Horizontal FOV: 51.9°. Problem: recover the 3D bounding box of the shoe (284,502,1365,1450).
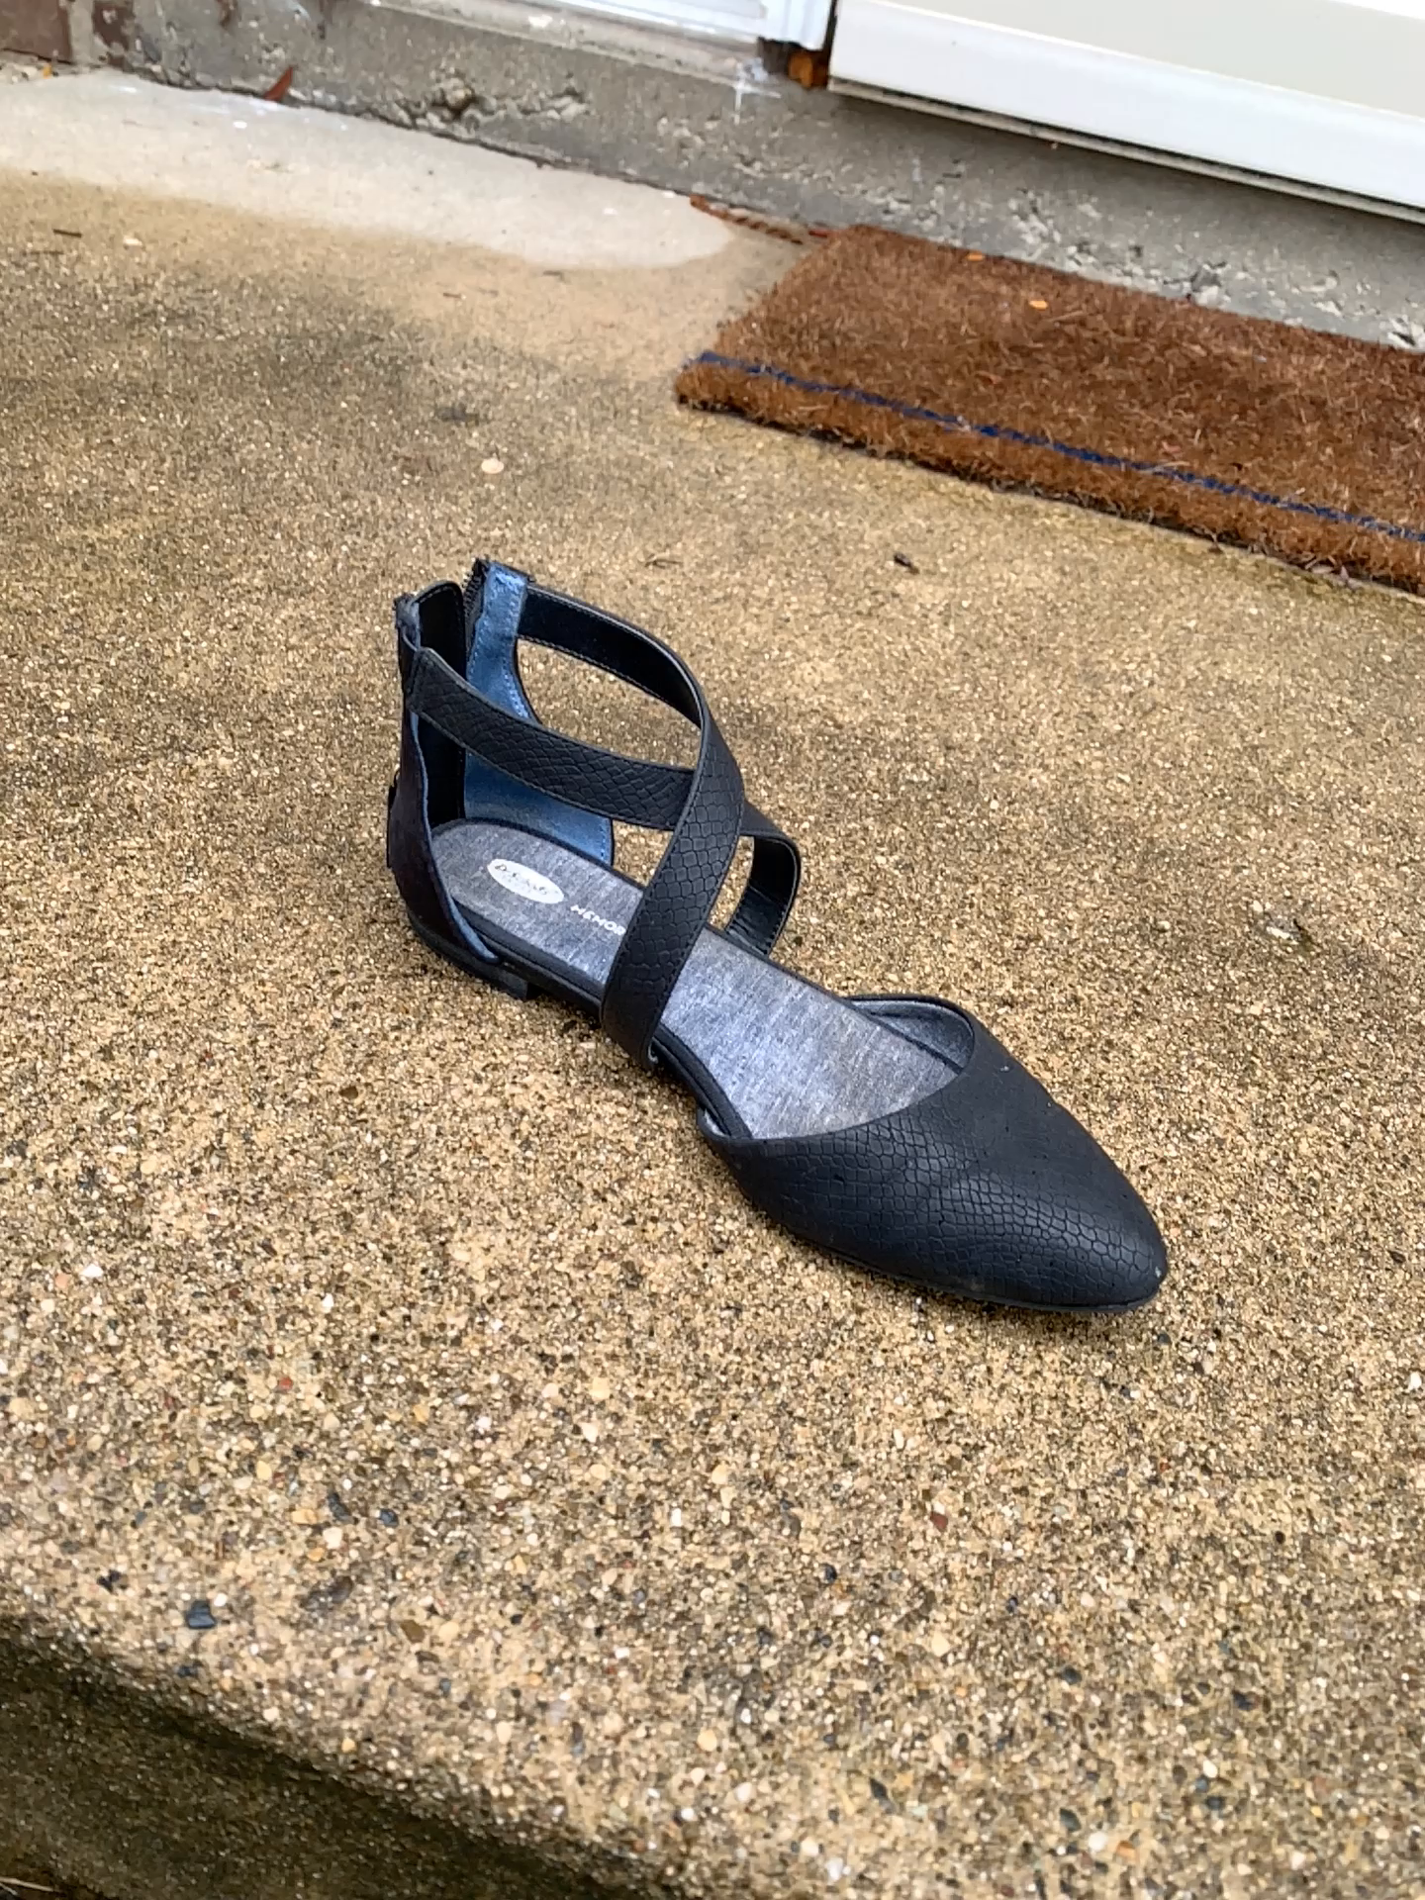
[{"bbox_3d":[0.011,-0.009,0.396,0.263,0.112,0.097,32,43,24],"label":"shoe"}]
